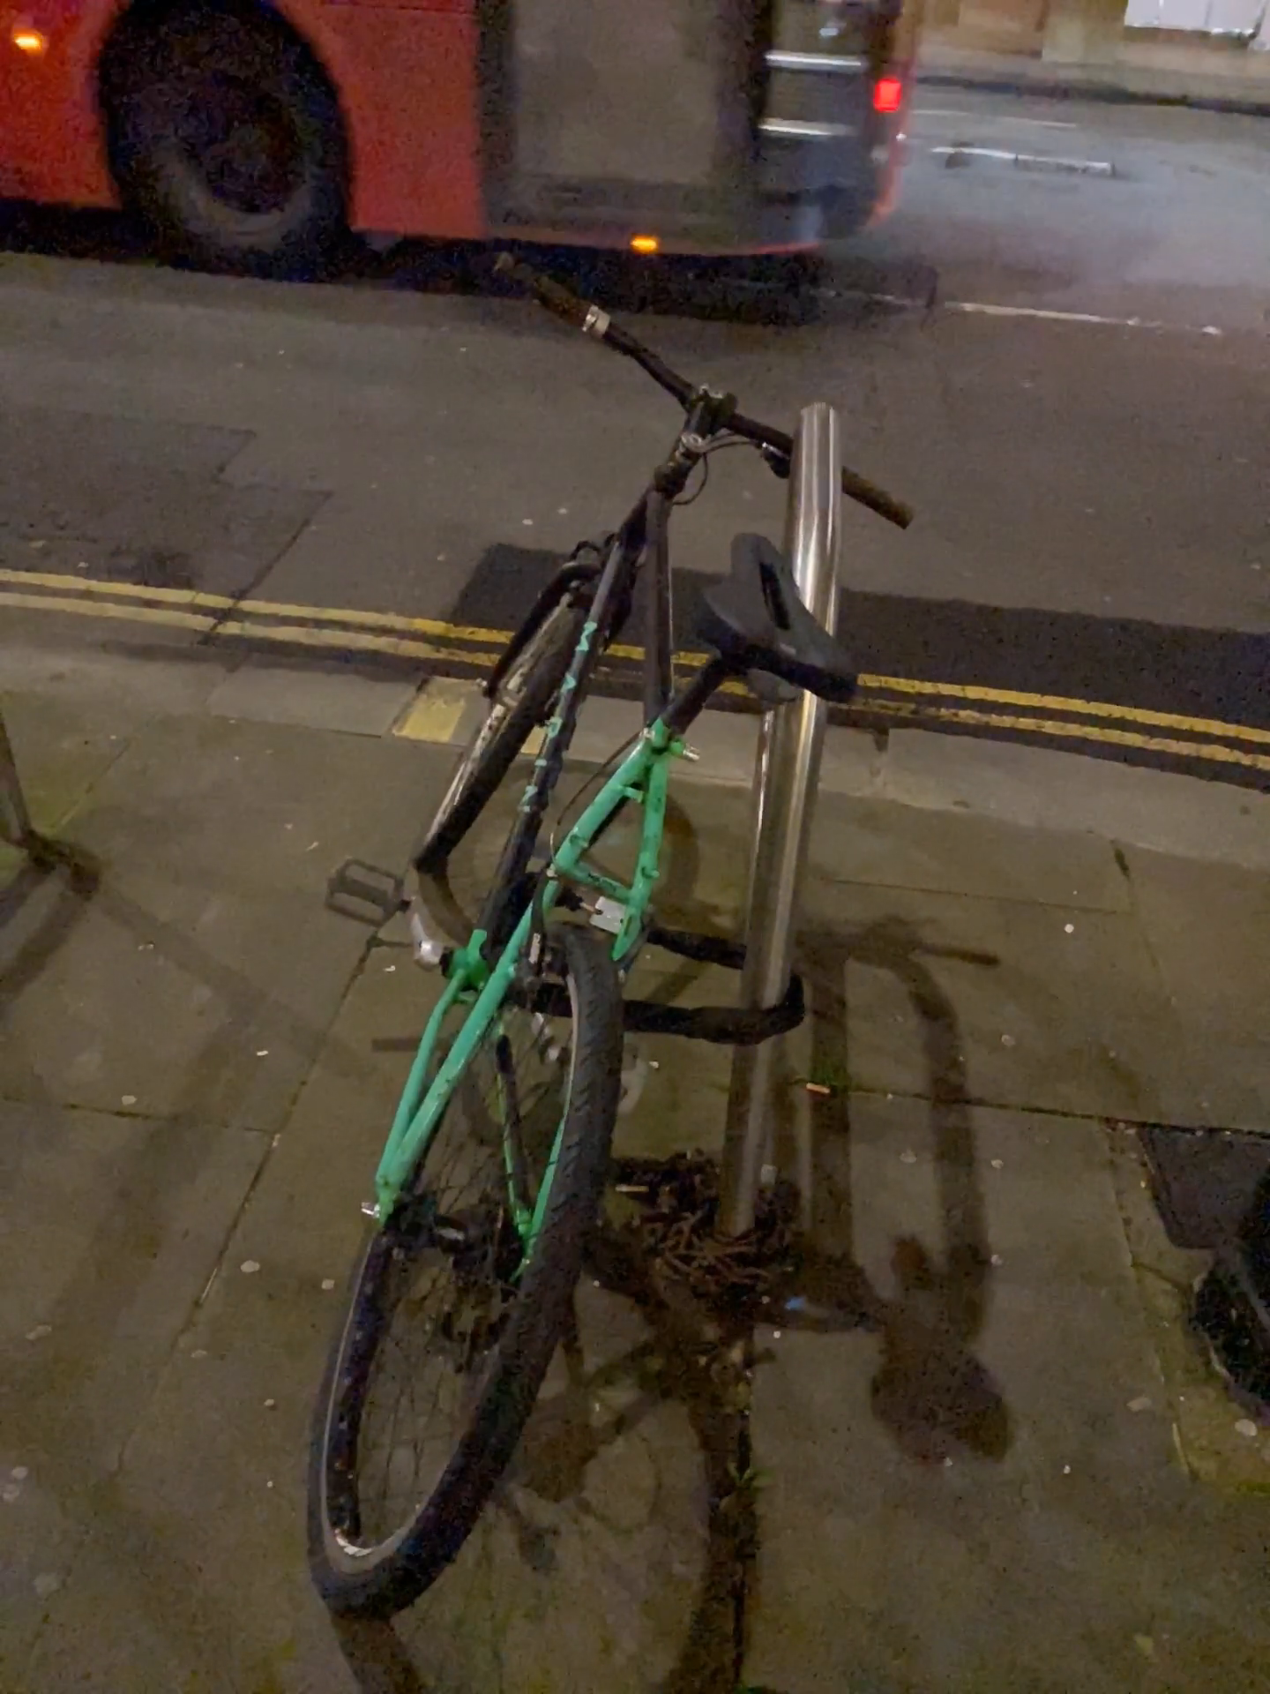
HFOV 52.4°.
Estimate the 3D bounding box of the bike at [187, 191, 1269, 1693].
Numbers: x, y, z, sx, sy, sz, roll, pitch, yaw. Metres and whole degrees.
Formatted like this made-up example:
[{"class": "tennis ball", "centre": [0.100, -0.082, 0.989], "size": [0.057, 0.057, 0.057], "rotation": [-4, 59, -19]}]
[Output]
[{"class": "bike", "centre": [0.102, -0.085, 1.582], "size": [0.638, 1.014, 1.697], "rotation": [2, 35, -1]}]
